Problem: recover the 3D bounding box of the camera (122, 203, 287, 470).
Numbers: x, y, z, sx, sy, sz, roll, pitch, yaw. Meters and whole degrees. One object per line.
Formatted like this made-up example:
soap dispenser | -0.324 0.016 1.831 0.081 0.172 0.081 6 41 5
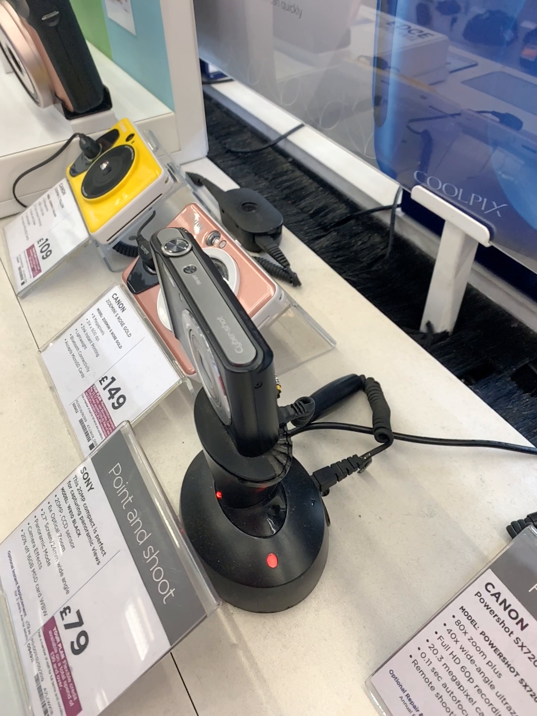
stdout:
camera | -0.028 -0.013 0.237 0.030 0.059 0.101 -20 48 -17
